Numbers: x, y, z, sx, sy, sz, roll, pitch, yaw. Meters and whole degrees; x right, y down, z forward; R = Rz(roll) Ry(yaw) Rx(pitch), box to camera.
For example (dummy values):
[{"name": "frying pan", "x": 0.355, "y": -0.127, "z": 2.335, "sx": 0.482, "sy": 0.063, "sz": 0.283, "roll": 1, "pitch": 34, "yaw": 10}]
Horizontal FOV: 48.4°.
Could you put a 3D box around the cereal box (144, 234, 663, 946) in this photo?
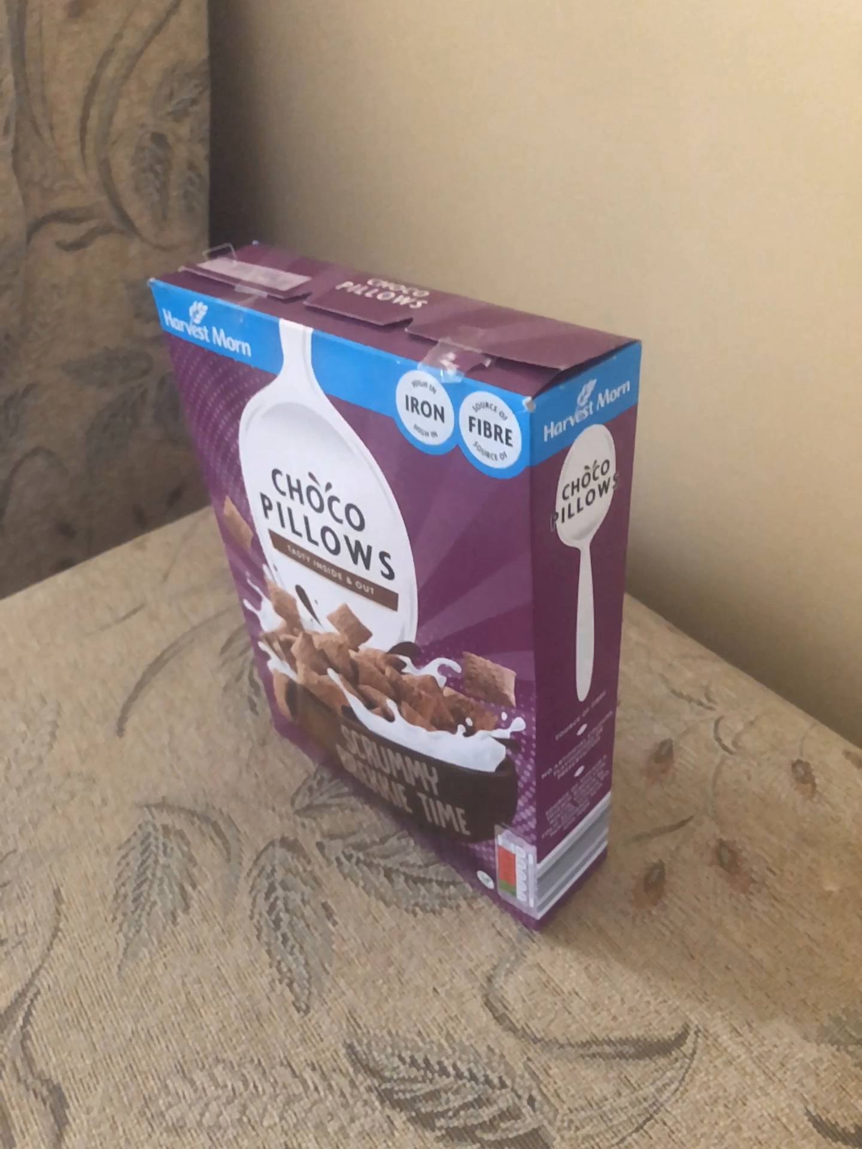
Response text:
[{"name": "cereal box", "x": -0.009, "y": 0.012, "z": 0.432, "sx": 0.201, "sy": 0.278, "sz": 0.060, "roll": 26, "pitch": 48, "yaw": 34}]
